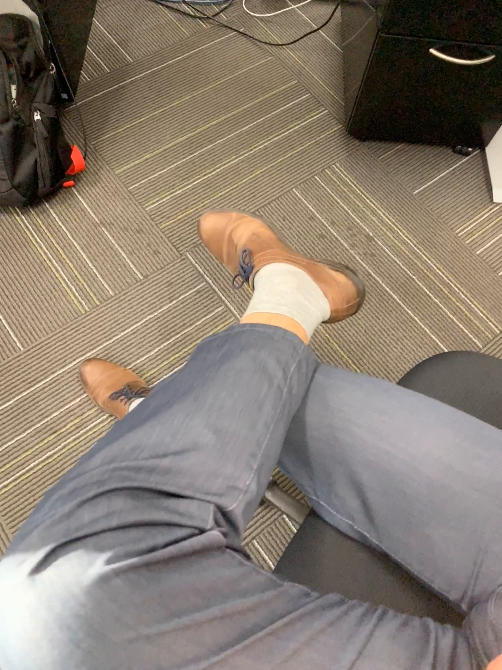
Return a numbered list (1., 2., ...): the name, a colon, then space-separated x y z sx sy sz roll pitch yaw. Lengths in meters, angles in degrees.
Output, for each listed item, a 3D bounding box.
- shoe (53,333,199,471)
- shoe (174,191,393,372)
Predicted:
1. shoe: -0.246 0.131 1.018 0.276 0.068 0.112 38 69 11
2. shoe: 0.038 -0.084 0.744 0.294 0.114 0.082 32 38 15
